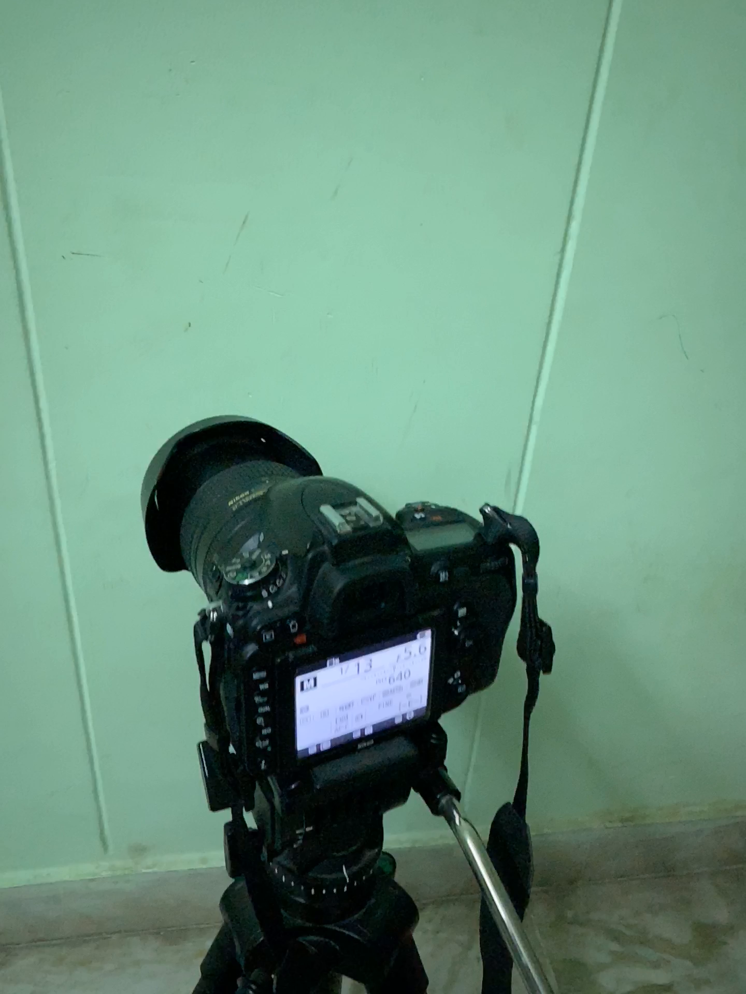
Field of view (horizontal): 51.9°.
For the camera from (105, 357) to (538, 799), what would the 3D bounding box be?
[{"bbox_3d":[-0.039,0.021,0.392,0.140,0.117,0.183,-12,33,-27],"label":"camera"}]
